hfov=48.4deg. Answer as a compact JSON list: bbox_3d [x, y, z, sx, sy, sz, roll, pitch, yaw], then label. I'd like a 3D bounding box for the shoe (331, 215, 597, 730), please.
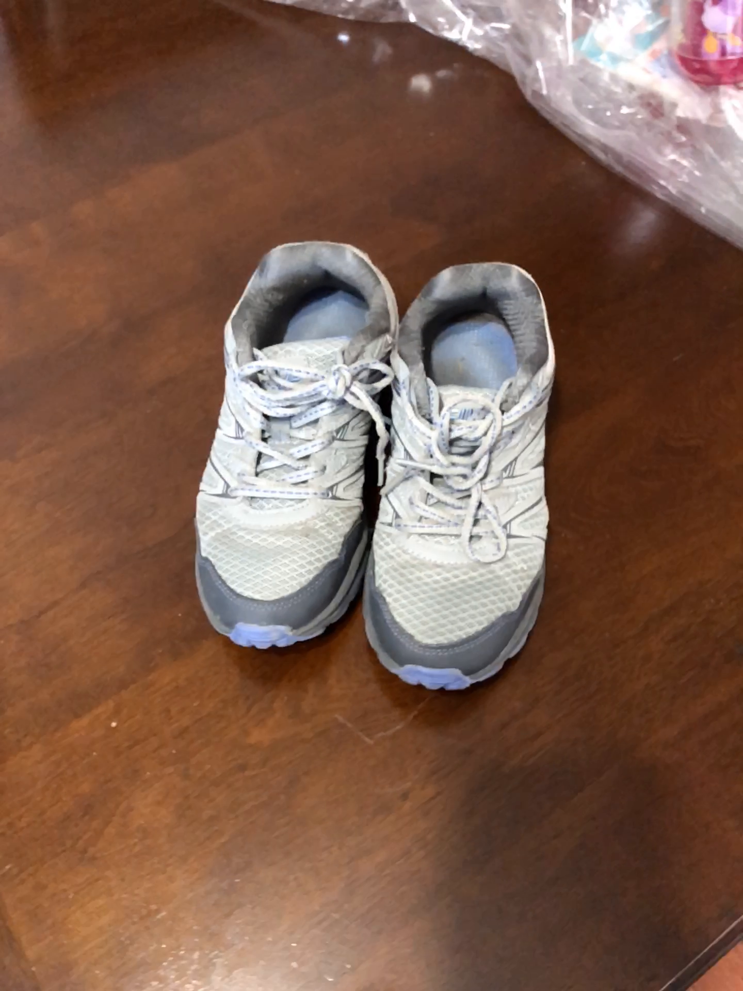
[{"bbox_3d":[0.055,-0.022,0.452,0.110,0.100,0.260,6,59,5],"label":"shoe"}]

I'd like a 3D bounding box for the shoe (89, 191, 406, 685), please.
[{"bbox_3d":[-0.049,-0.039,0.453,0.110,0.100,0.250,5,59,5],"label":"shoe"}]
